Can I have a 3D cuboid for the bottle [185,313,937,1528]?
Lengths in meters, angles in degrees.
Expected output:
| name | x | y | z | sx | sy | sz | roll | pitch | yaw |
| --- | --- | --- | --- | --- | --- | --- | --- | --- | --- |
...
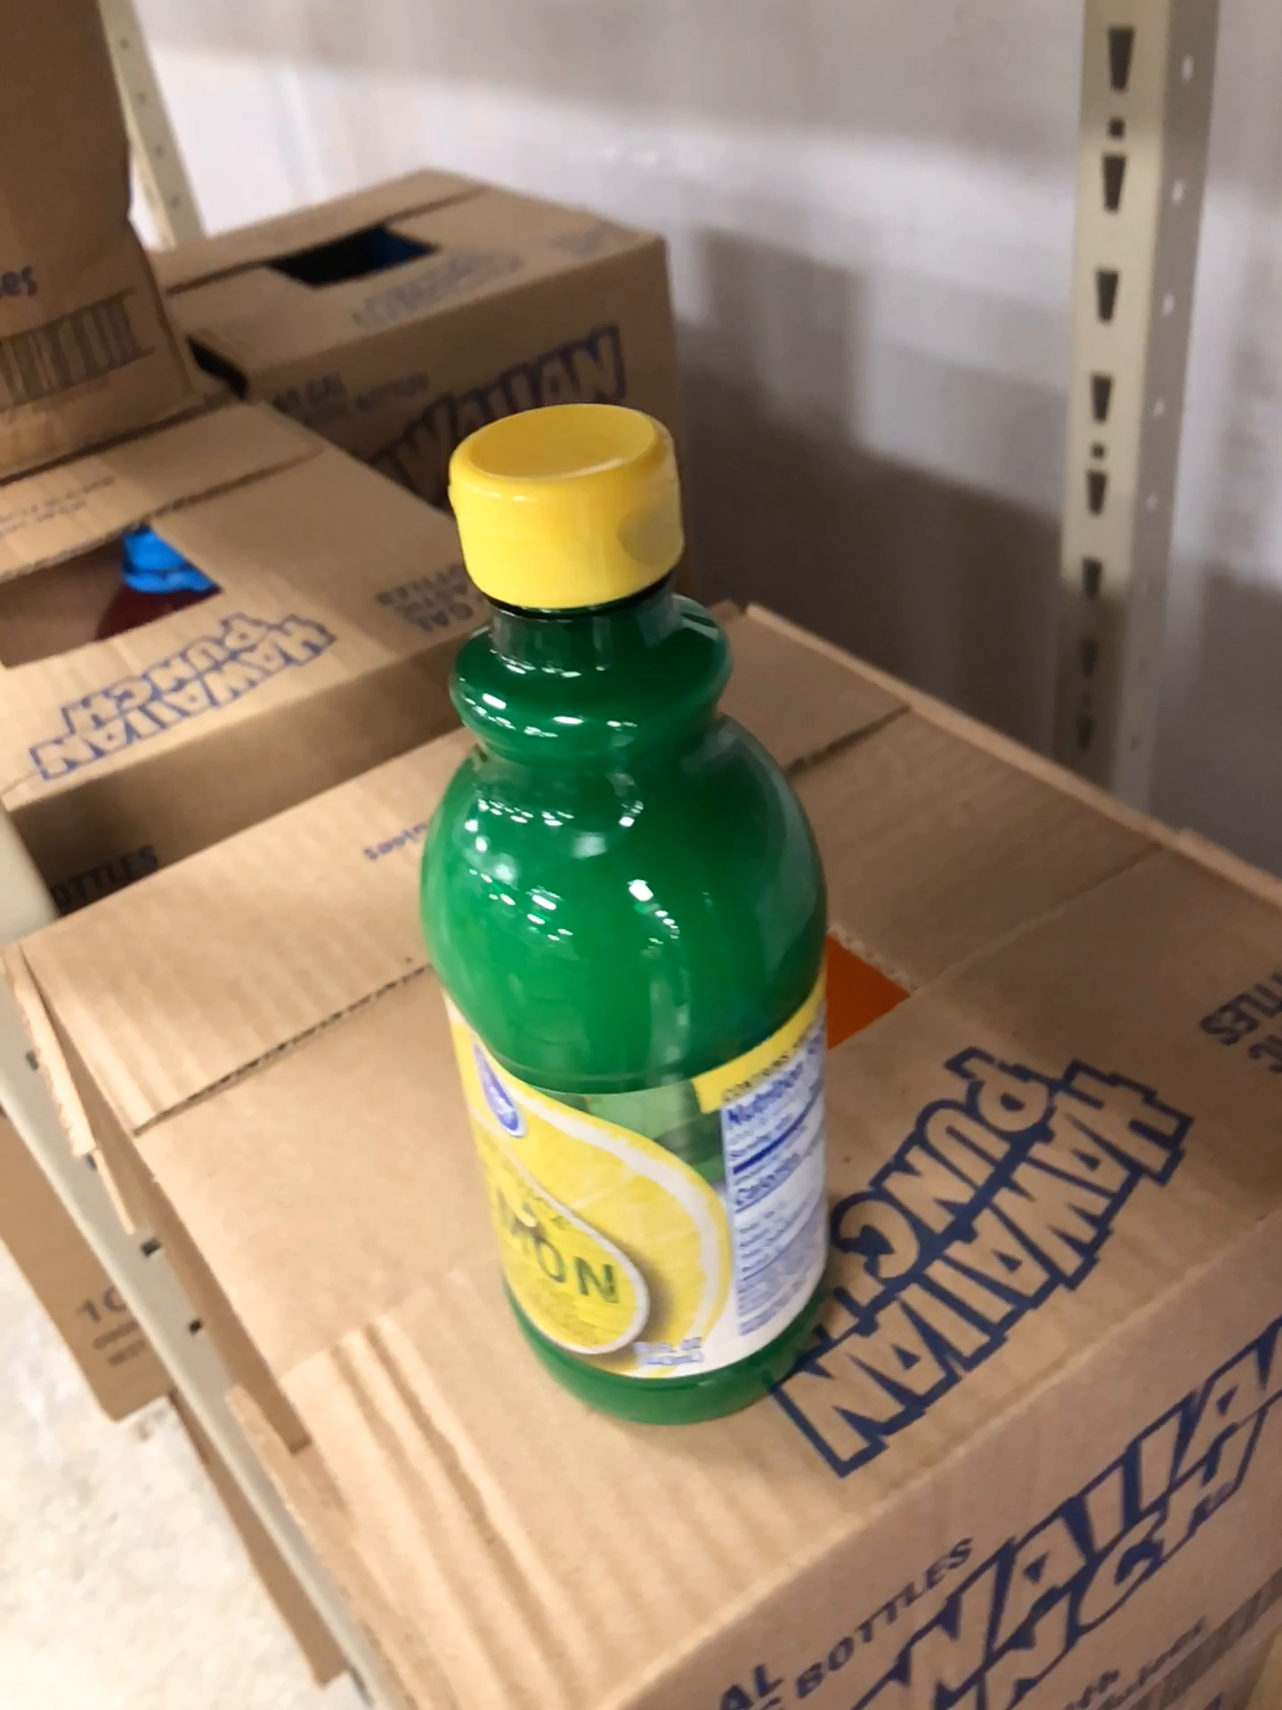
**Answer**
| name | x | y | z | sx | sy | sz | roll | pitch | yaw |
| --- | --- | --- | --- | --- | --- | --- | --- | --- | --- |
| bottle | -0.002 | 0.017 | 0.242 | 0.070 | 0.184 | 0.070 | -5 | 37 | 4 |
